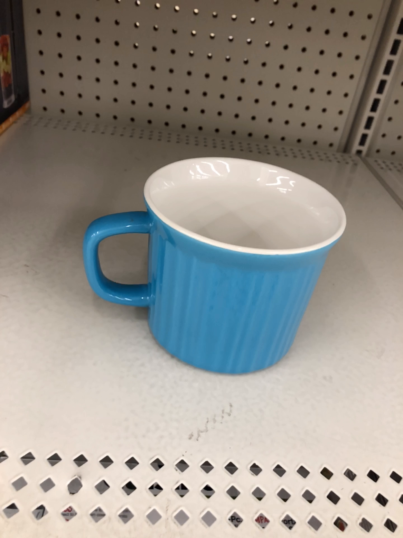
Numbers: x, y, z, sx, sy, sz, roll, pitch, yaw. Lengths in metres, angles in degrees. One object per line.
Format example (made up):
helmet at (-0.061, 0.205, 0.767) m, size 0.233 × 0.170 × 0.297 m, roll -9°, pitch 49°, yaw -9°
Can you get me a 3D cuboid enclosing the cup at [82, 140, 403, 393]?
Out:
cup at (0.010, -0.011, 0.288) m, size 0.161 × 0.093 × 0.126 m, roll -2°, pitch 36°, yaw -16°
